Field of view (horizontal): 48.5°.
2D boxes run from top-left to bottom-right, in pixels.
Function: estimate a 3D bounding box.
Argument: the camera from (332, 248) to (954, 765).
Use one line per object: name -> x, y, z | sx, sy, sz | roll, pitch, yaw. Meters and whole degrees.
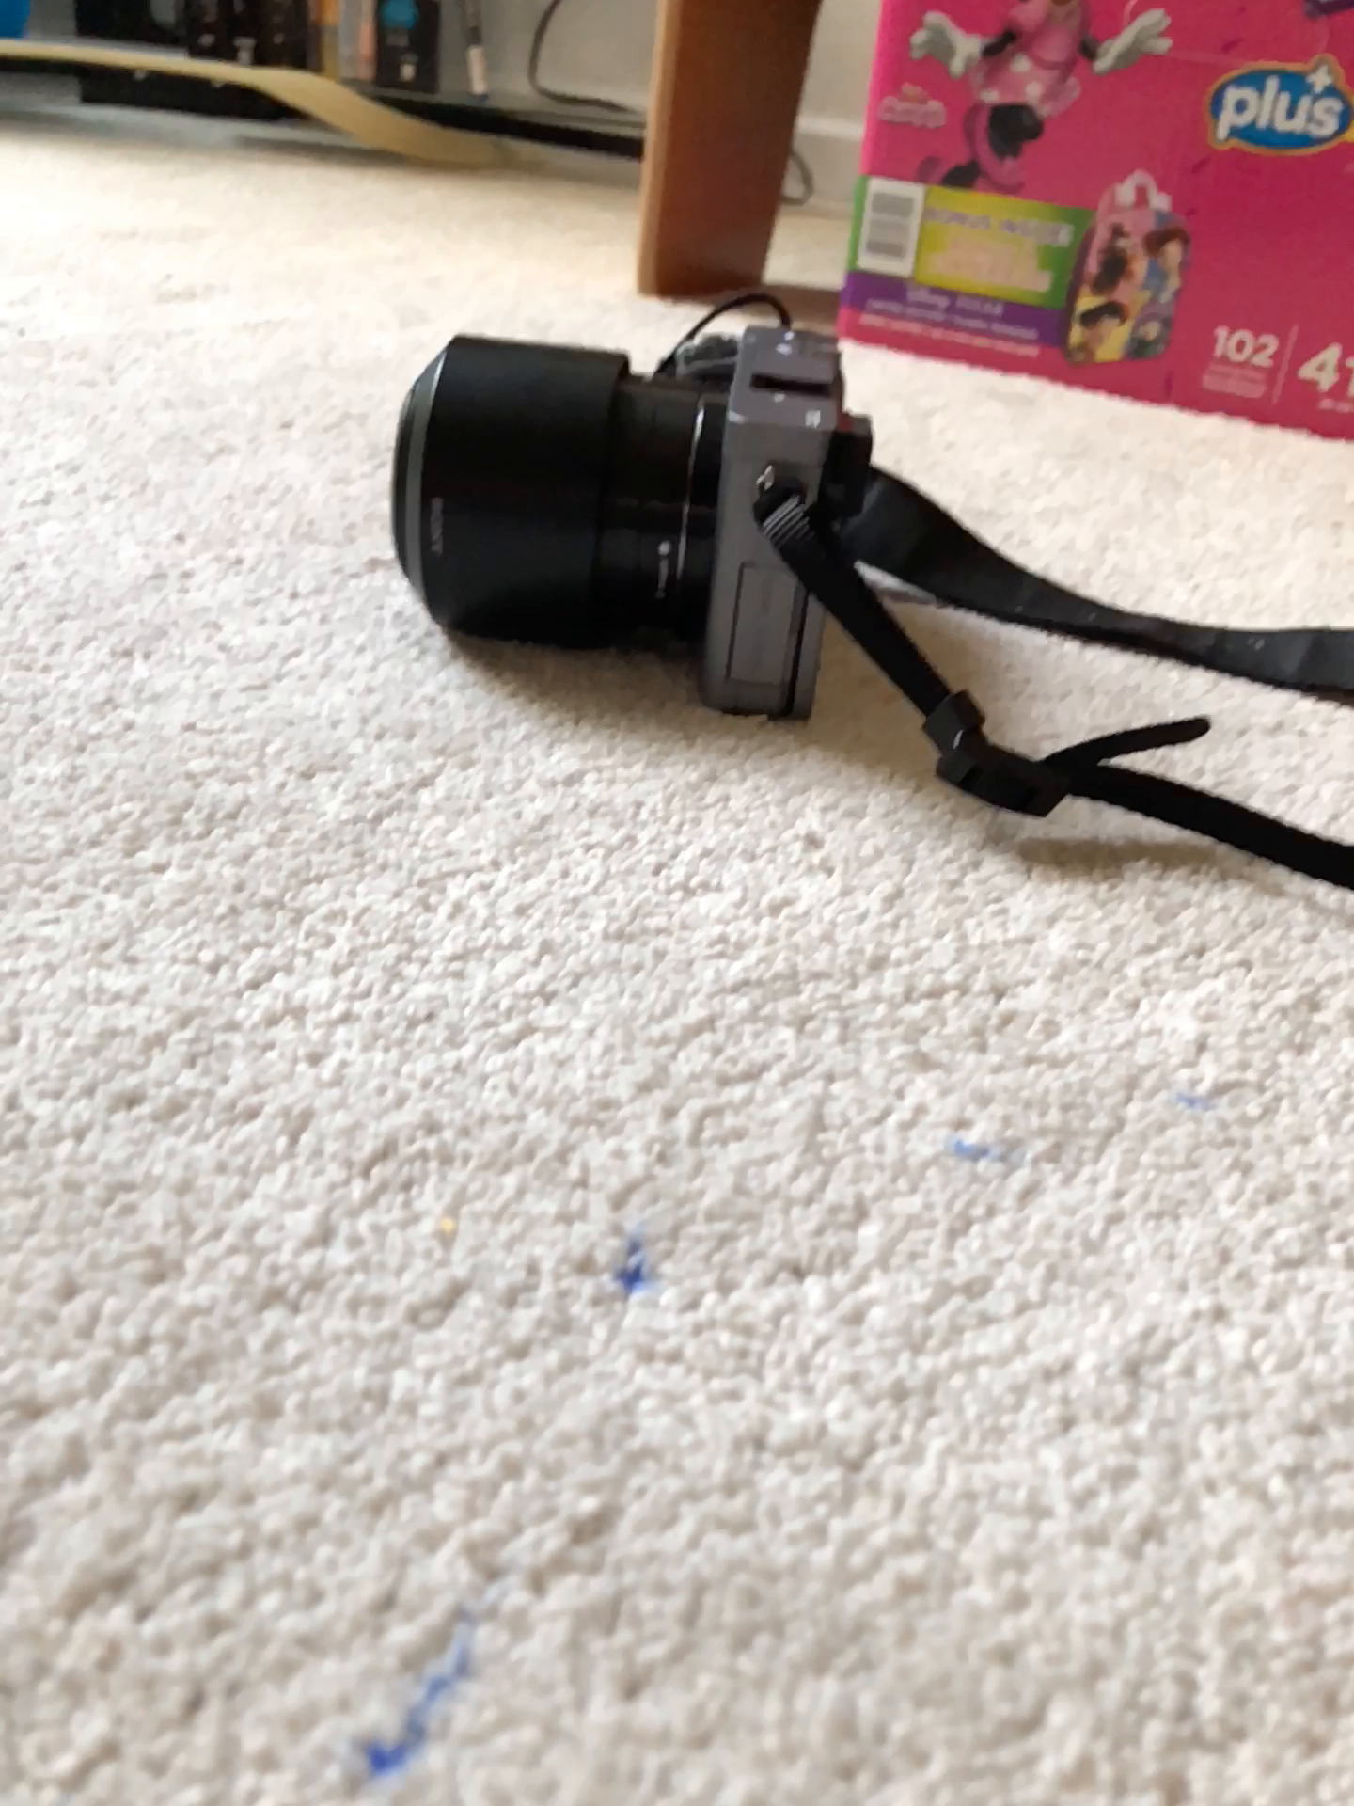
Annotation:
camera -> -0.006, -0.098, 0.343 | 0.110, 0.070, 0.141 | 6, 29, 0
